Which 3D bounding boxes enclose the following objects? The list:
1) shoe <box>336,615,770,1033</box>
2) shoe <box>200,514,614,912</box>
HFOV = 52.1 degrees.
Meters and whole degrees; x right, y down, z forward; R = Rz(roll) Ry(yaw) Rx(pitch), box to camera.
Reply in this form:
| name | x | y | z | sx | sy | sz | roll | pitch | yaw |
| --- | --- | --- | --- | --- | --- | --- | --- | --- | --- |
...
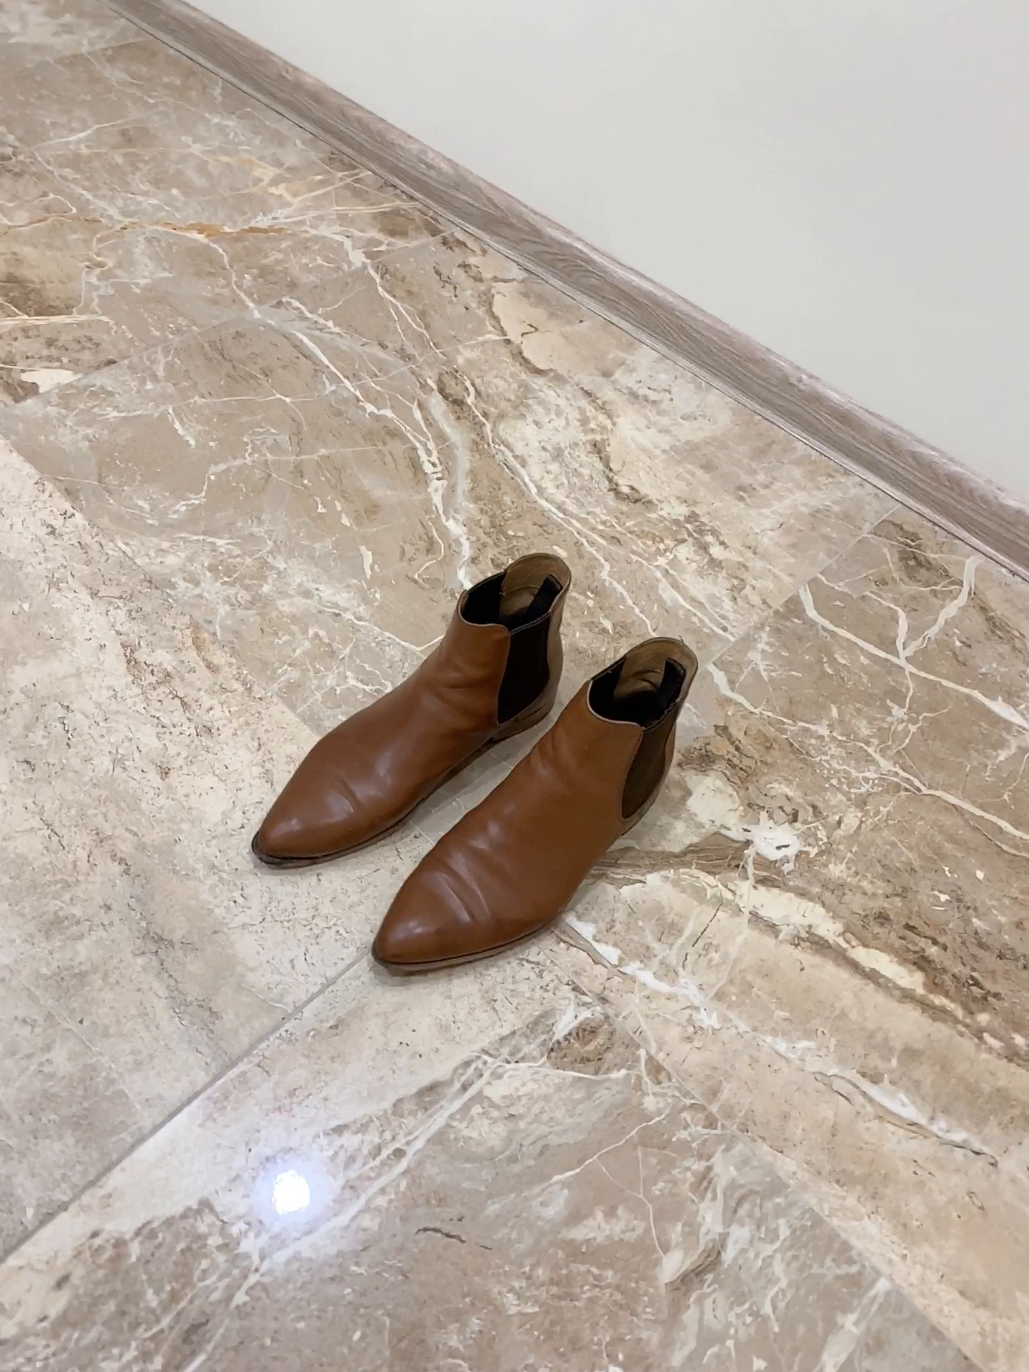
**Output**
| name | x | y | z | sx | sy | sz | roll | pitch | yaw |
| --- | --- | --- | --- | --- | --- | --- | --- | --- | --- |
| shoe | 0.023 | 0.077 | 0.638 | 0.251 | 0.120 | 0.090 | -31 | 62 | -29 |
| shoe | -0.064 | 0.012 | 0.686 | 0.251 | 0.129 | 0.090 | -34 | 63 | -30 |
